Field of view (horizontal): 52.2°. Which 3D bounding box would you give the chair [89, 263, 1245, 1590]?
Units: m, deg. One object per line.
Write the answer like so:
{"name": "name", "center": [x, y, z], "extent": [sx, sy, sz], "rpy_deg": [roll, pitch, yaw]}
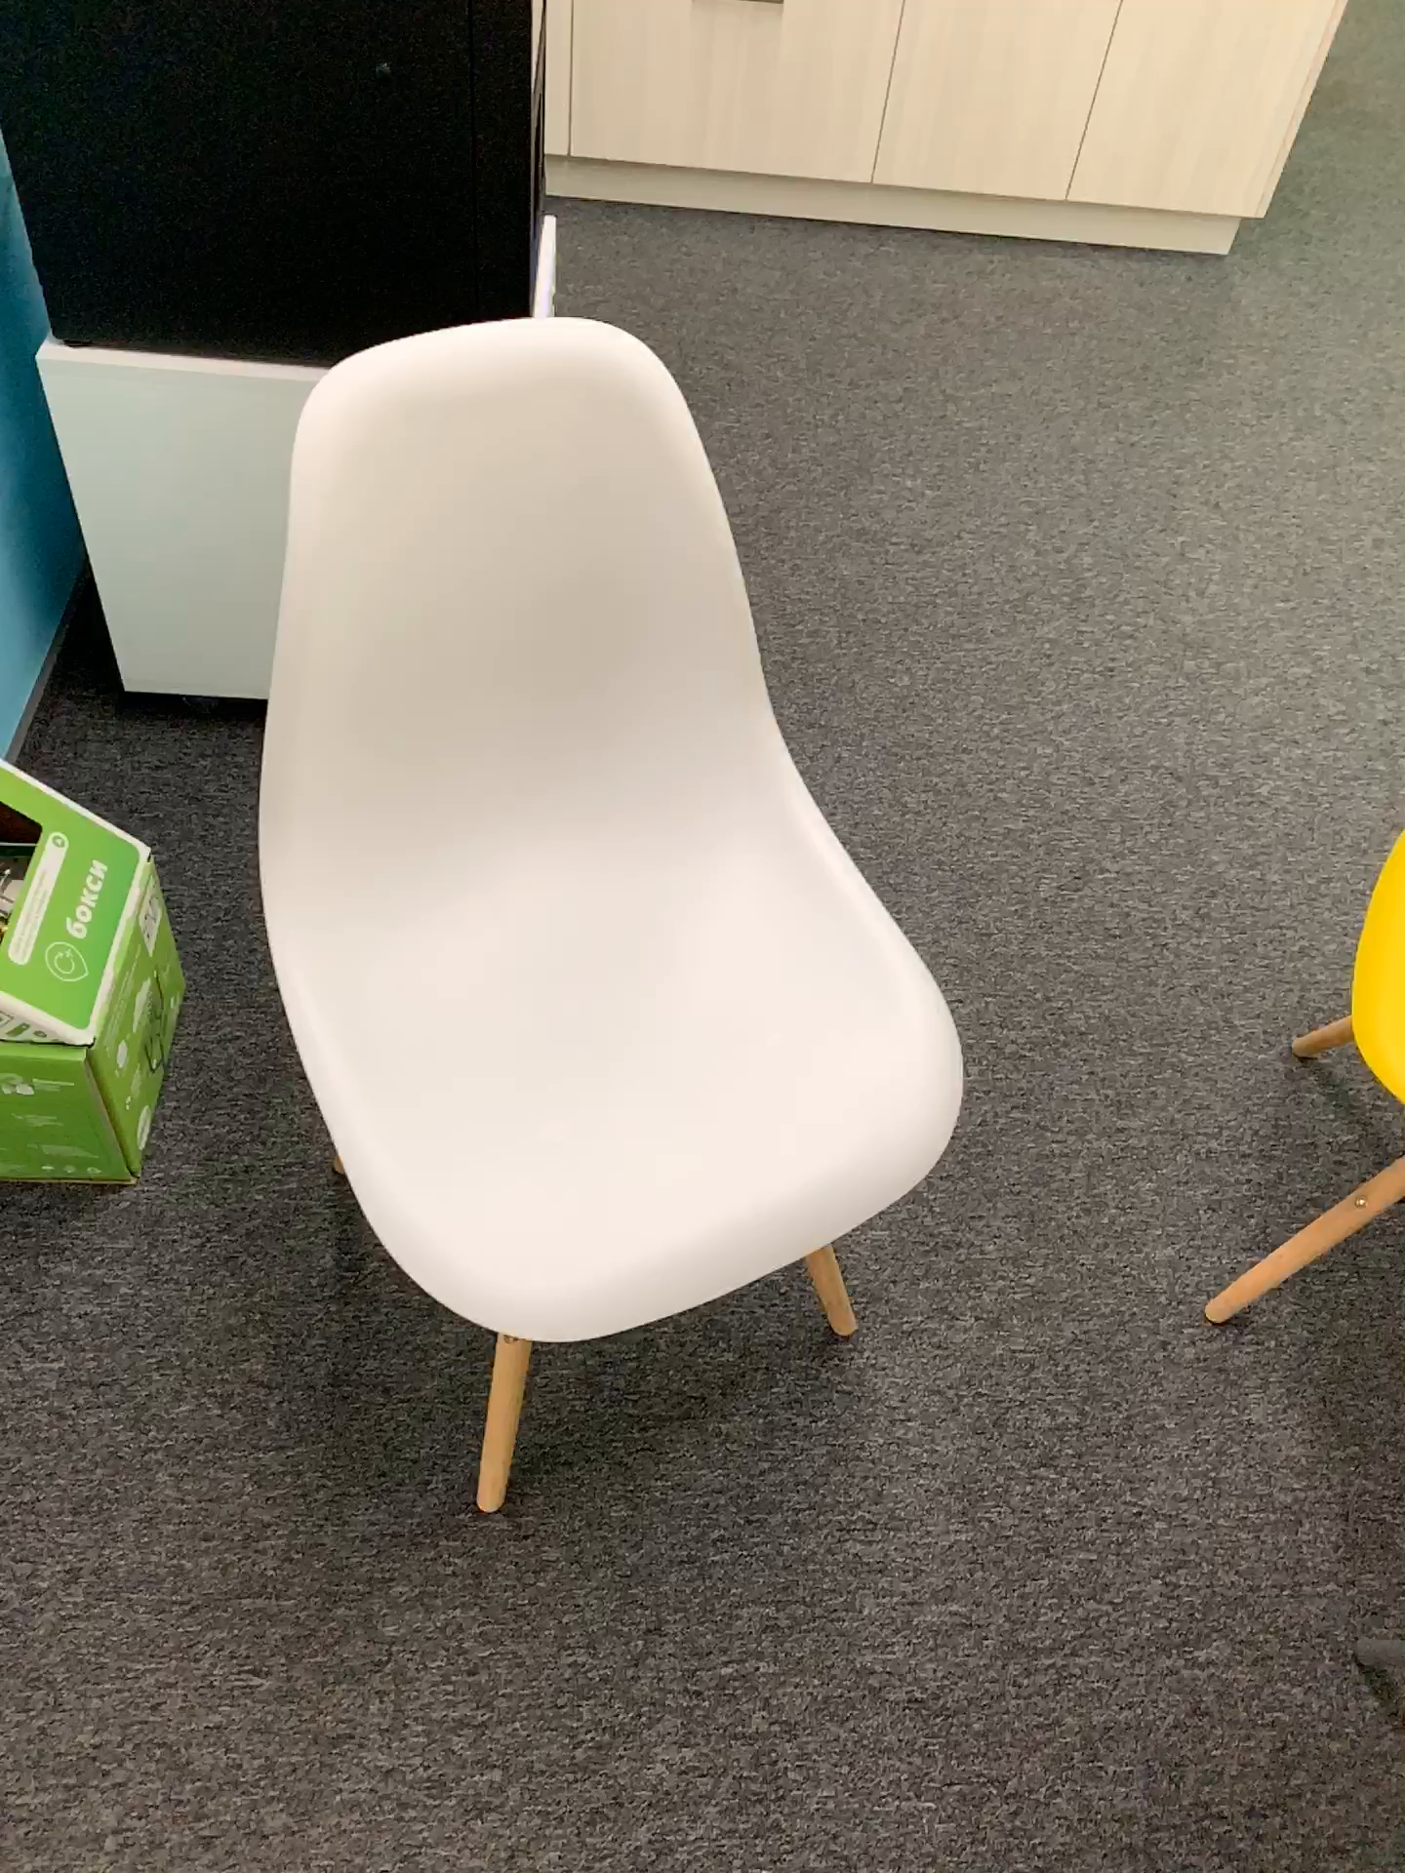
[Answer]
{"name": "chair", "center": [-0.080, 0.035, 1.098], "extent": [0.461, 0.816, 0.501], "rpy_deg": [-19, 55, -22]}
